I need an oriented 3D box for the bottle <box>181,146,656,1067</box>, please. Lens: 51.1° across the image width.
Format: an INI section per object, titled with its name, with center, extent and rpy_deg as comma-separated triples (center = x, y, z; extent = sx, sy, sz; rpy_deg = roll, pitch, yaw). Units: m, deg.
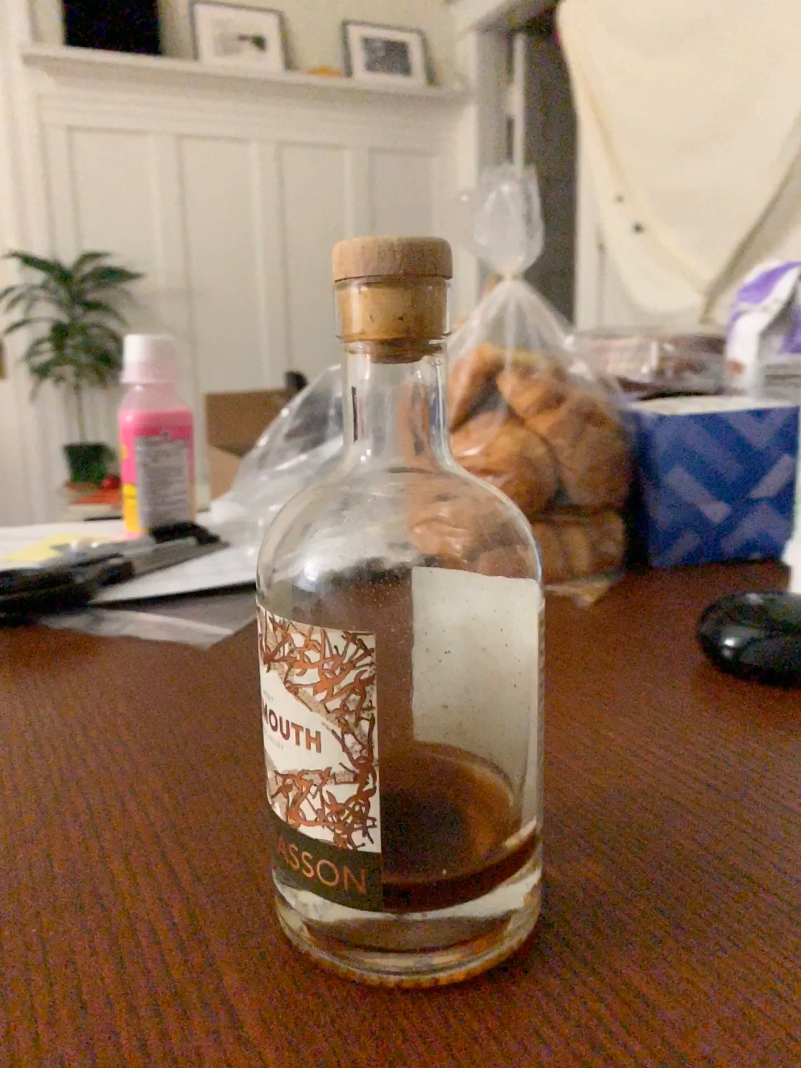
[bottle]
center = 0.000, 0.014, 0.220
extent = 0.080, 0.189, 0.090
rpy_deg = -7, 13, -27
